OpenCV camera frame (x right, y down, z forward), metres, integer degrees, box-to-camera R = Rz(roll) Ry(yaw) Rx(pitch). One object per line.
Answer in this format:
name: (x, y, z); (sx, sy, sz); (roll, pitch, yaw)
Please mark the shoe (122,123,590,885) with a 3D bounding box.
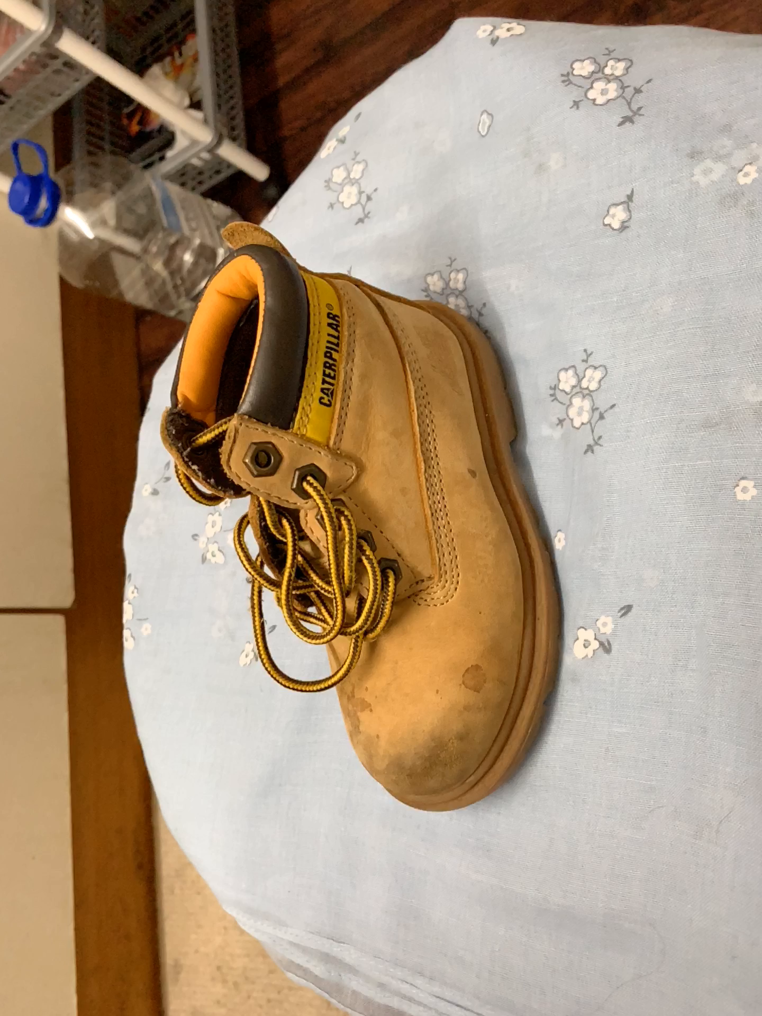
shoe: (-0.008, 0.005, 0.267); (0.096, 0.119, 0.190); (-11, 76, 34)
